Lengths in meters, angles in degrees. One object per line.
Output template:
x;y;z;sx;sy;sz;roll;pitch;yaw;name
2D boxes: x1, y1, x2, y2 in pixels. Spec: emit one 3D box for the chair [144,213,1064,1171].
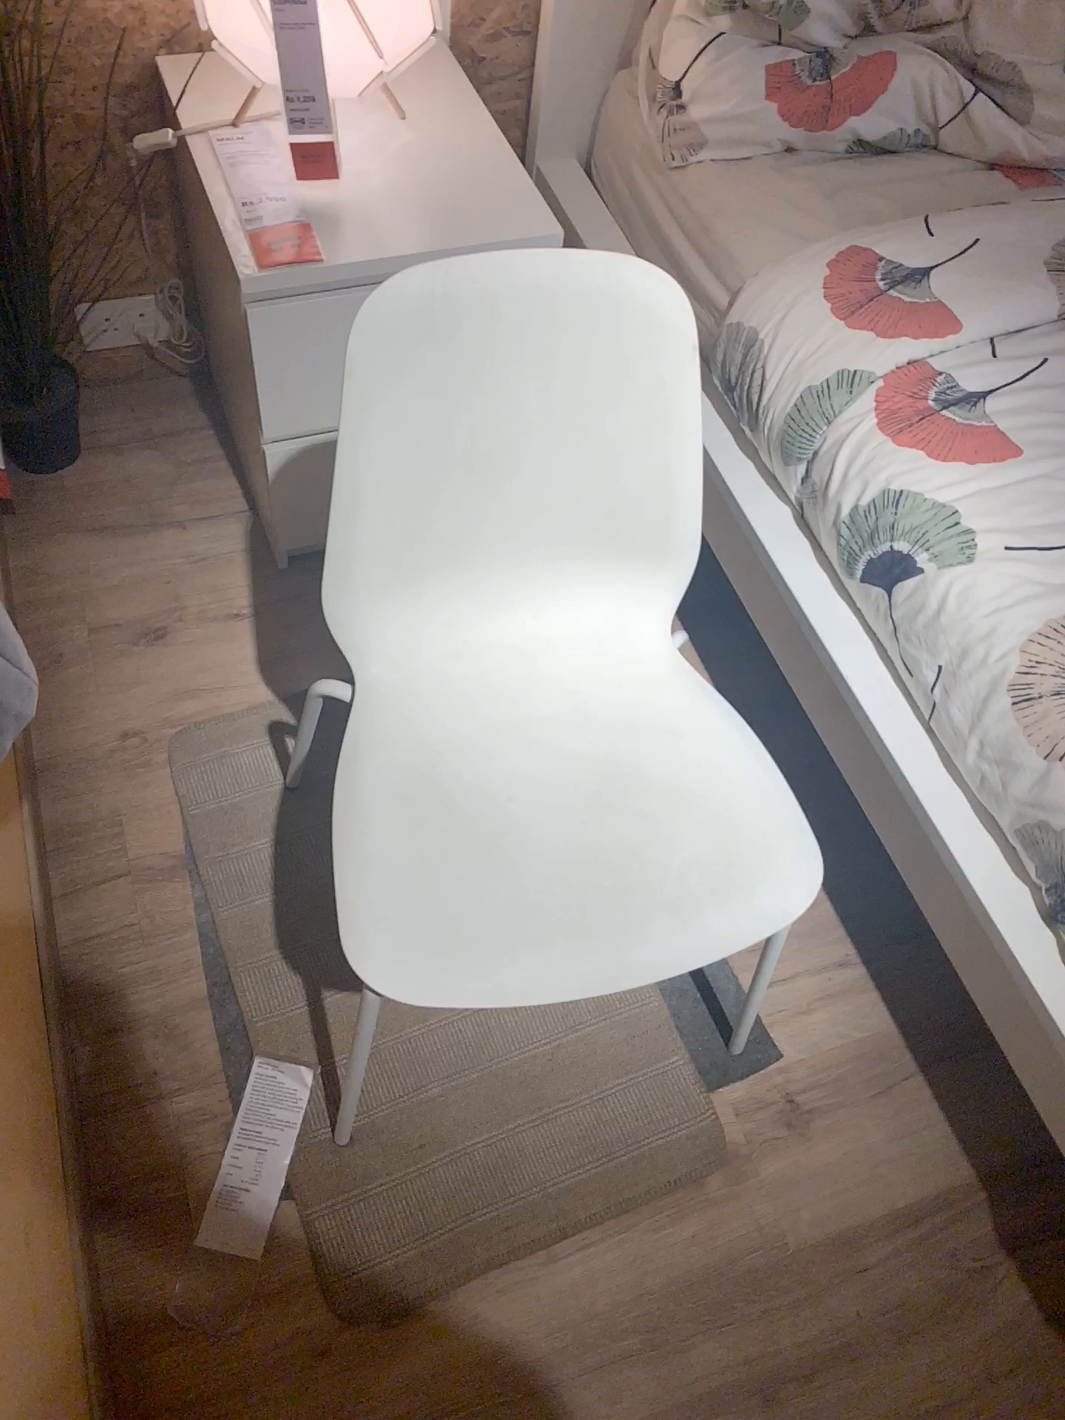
-0.015;0.032;1.088;0.540;0.758;0.561;-9;59;-13;chair
